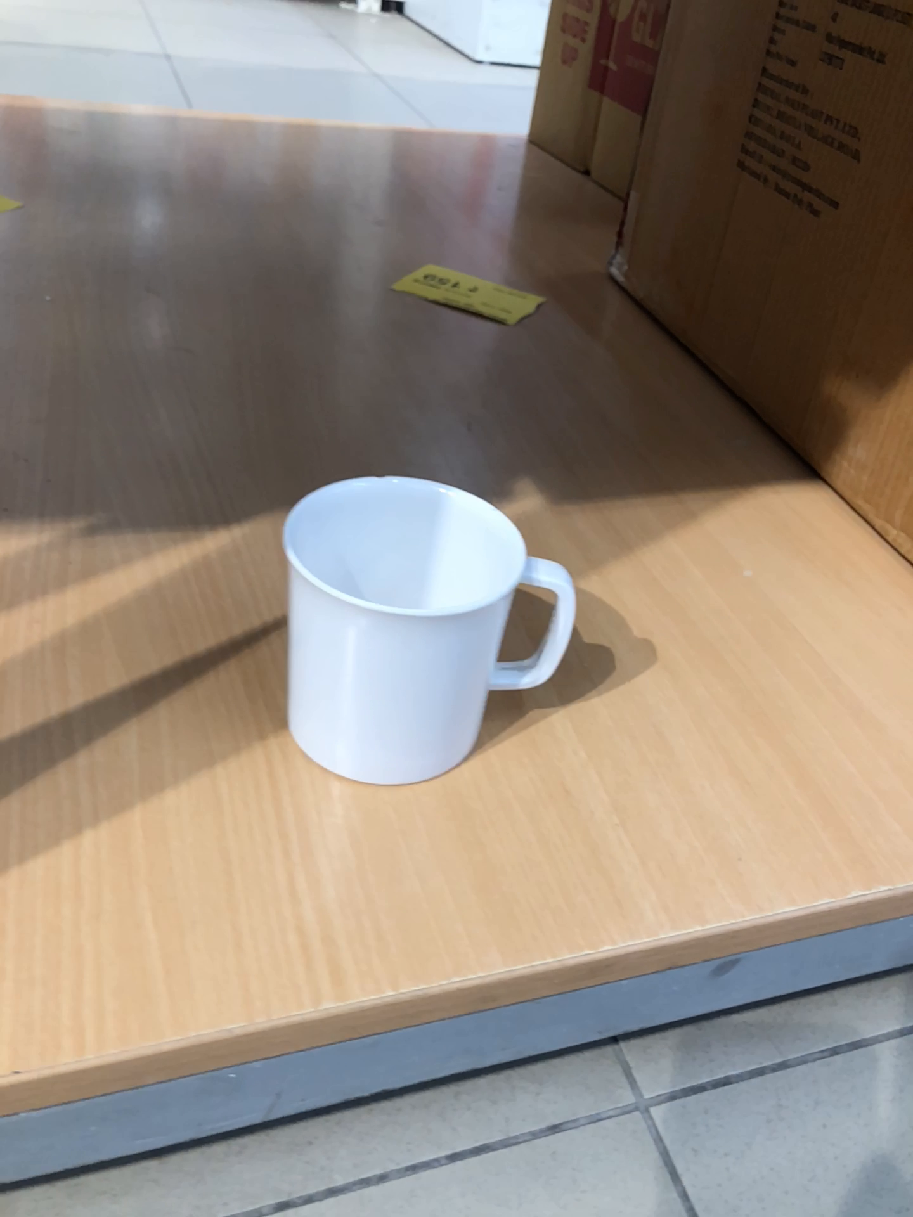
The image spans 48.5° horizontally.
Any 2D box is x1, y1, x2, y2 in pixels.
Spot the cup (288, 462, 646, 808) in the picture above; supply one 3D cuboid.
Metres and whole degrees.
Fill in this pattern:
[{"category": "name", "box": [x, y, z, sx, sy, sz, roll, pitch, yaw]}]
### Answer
[{"category": "cup", "box": [-0.002, 0.010, 0.375, 0.110, 0.089, 0.081, 4, 36, -7]}]
